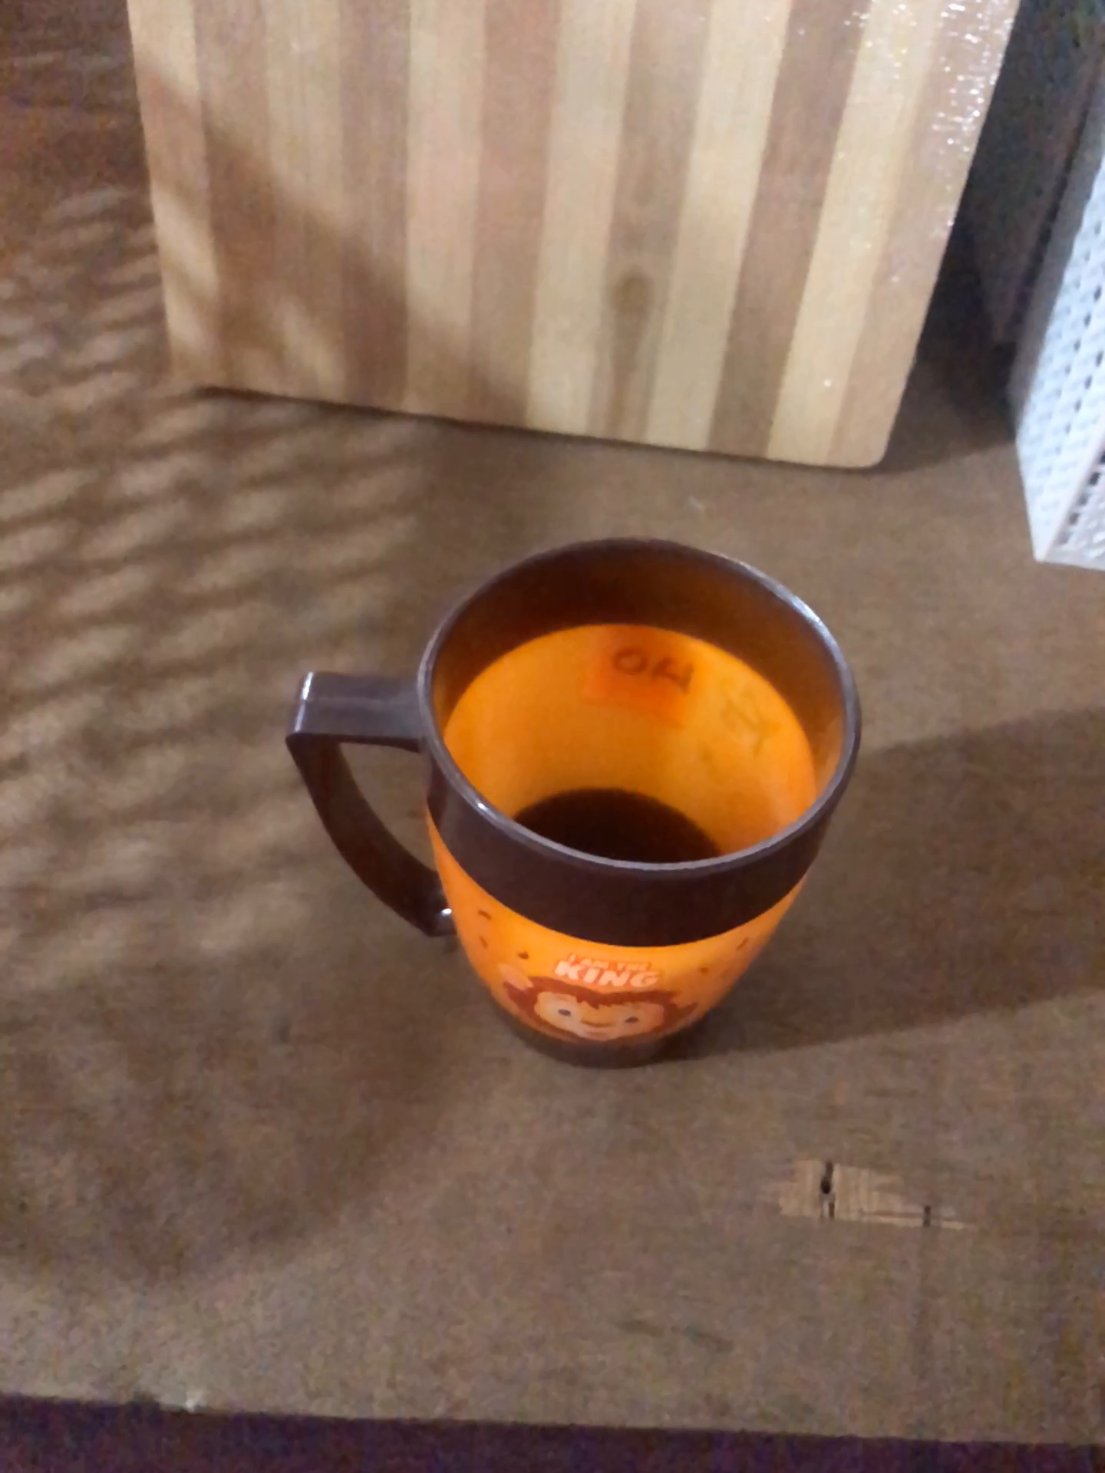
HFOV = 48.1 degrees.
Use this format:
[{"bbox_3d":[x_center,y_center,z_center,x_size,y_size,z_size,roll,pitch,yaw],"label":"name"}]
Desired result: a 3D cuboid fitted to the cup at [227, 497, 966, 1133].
[{"bbox_3d":[0.008,0.018,0.220,0.100,0.090,0.060,8,55,3],"label":"cup"}]
